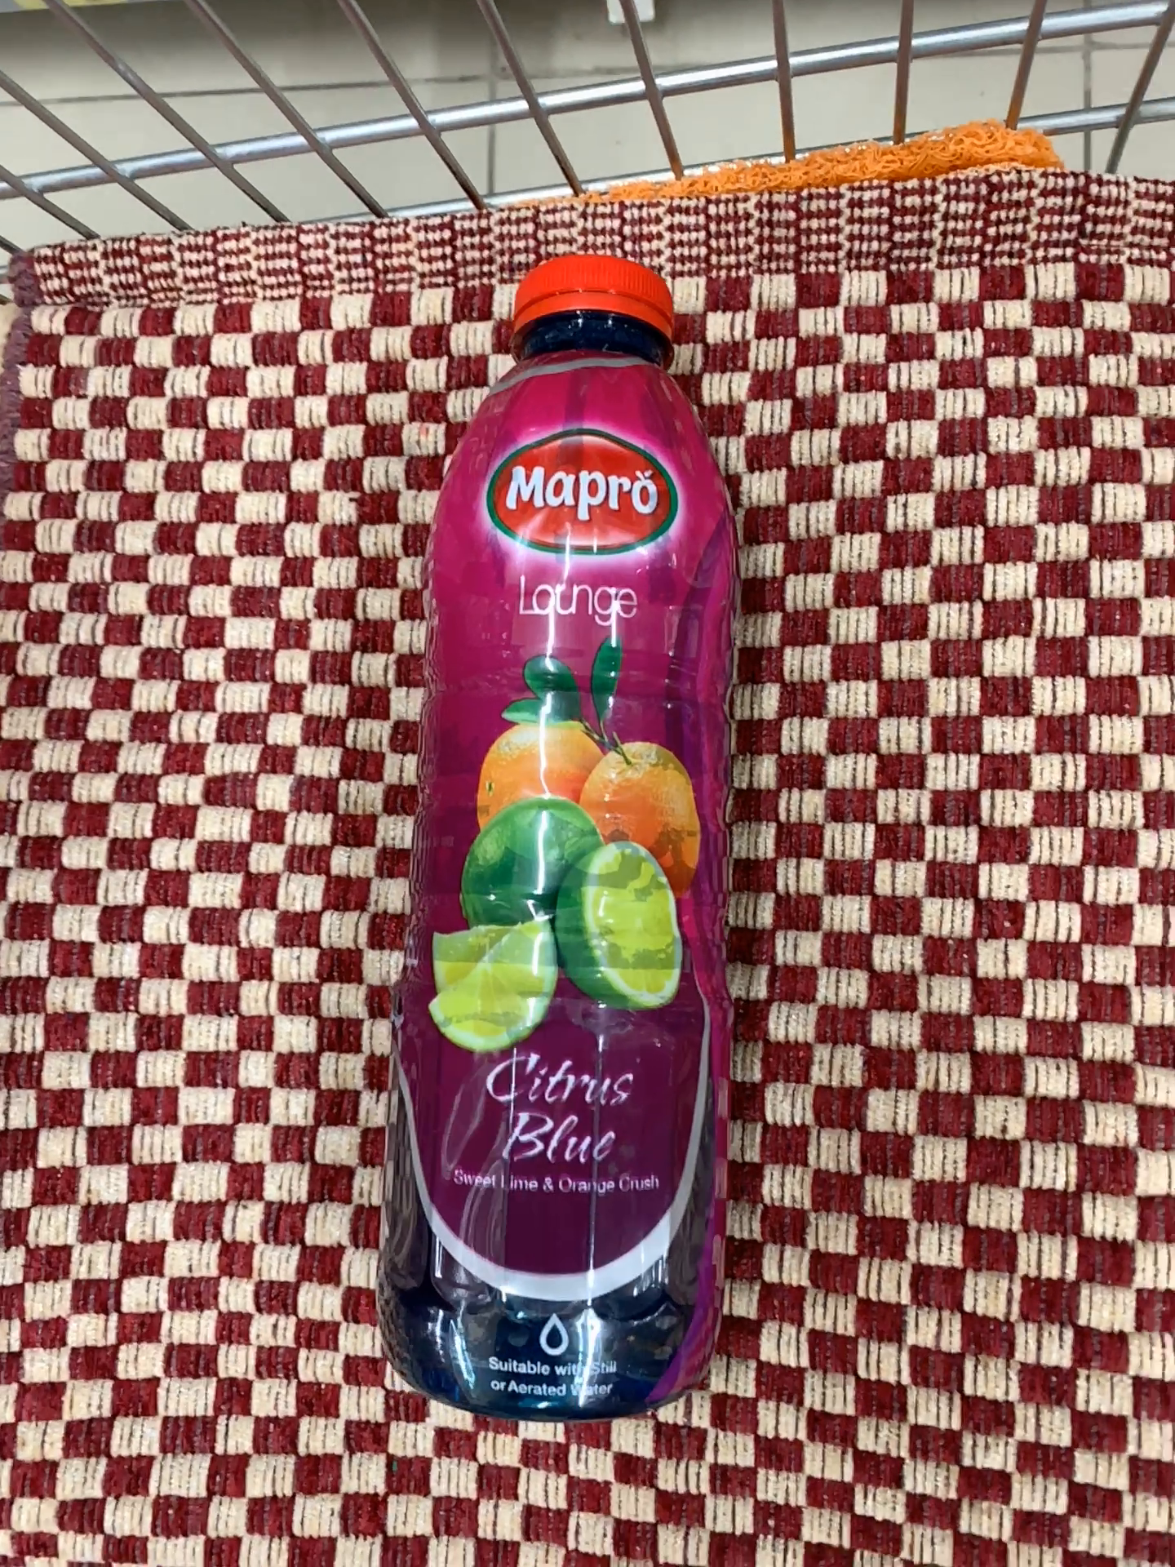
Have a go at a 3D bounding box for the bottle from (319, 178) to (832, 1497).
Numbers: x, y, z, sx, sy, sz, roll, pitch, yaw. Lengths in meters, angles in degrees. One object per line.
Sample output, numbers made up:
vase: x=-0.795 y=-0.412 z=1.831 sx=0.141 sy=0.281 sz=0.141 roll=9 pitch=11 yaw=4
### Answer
bottle: x=-0.002 y=0.010 z=0.267 sx=0.090 sy=0.070 sz=0.250 roll=2 pitch=89 yaw=-1
